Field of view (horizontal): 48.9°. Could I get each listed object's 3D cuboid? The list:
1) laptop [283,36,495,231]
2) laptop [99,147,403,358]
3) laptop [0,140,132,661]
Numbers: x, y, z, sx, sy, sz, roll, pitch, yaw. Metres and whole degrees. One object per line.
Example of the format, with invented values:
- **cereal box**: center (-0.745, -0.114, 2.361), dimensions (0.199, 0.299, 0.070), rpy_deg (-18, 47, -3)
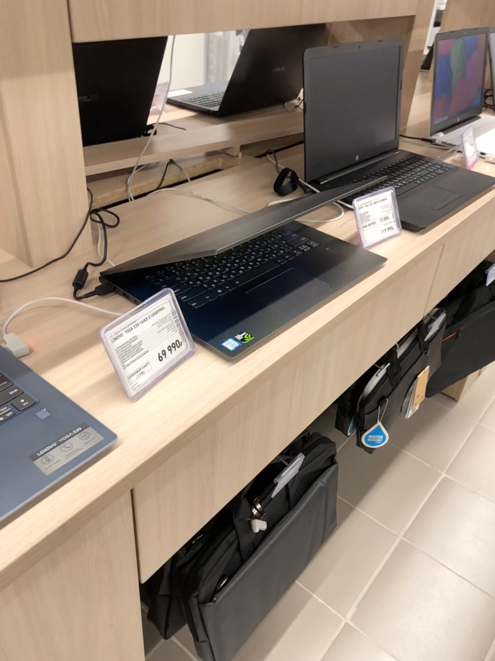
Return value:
- **laptop**: center (0.330, -0.427, 1.116), dimensions (0.304, 0.240, 0.403), rpy_deg (29, 41, 28)
- **laptop**: center (0.017, -0.140, 0.780), dimensions (0.243, 0.118, 0.363), rpy_deg (30, 41, 30)
- **laptop**: center (-0.361, 0.016, 0.428), dimensions (0.343, 0.201, 0.355), rpy_deg (27, 39, 29)
